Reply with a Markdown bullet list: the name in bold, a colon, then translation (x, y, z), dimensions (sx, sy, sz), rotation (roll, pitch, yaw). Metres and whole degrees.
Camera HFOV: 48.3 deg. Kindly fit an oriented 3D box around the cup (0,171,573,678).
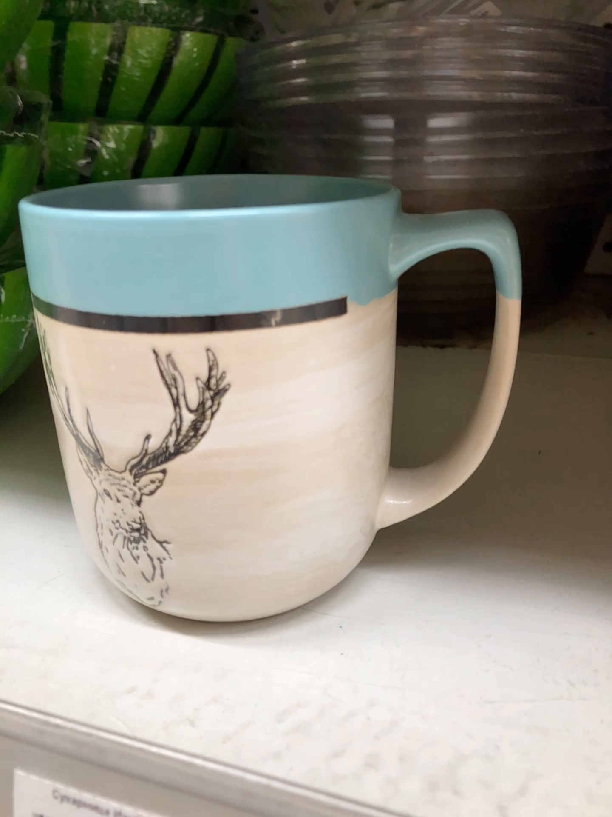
- **cup**: translation (-0.007, -0.008, 0.188), dimensions (0.123, 0.102, 0.094), rotation (3, 23, 9)
